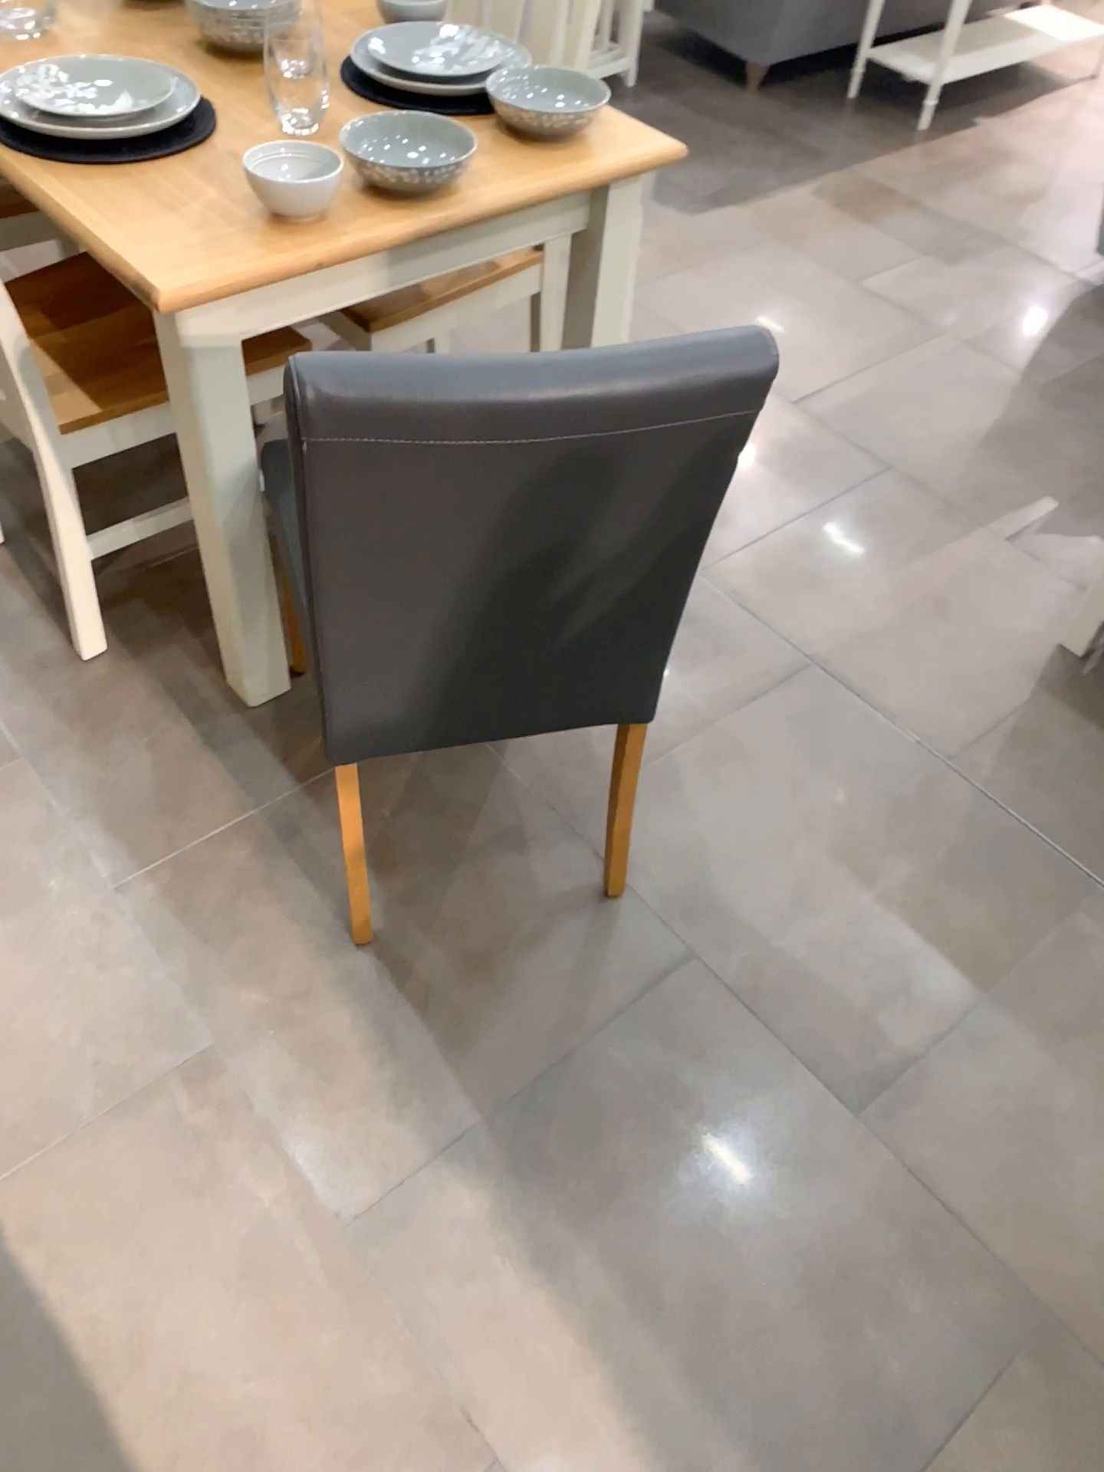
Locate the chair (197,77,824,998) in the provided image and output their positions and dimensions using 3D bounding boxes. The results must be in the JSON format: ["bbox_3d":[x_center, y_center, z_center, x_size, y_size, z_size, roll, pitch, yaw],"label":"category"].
[{"bbox_3d":[-0.118,-0.223,1.445,0.475,0.906,0.655,-8,50,-13],"label":"chair"}]
